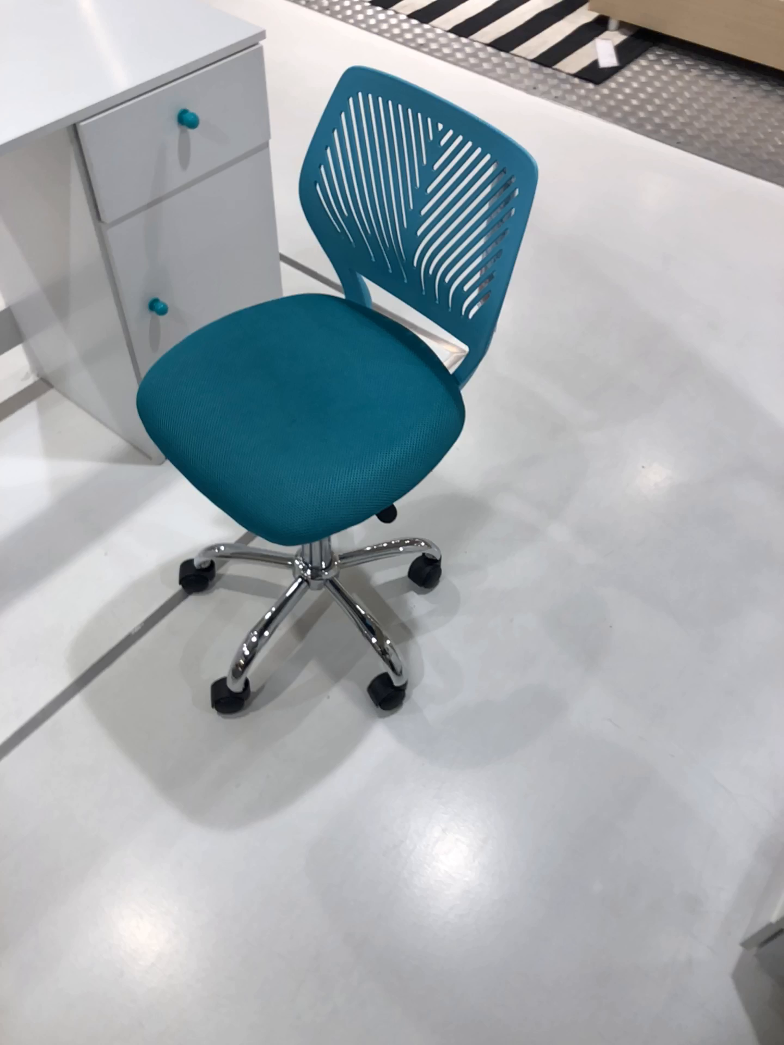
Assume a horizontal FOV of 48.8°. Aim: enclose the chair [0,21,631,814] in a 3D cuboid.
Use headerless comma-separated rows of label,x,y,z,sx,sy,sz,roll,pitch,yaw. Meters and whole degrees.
chair,-0.124,-0.103,1.179,0.532,0.805,0.482,-36,61,-26
